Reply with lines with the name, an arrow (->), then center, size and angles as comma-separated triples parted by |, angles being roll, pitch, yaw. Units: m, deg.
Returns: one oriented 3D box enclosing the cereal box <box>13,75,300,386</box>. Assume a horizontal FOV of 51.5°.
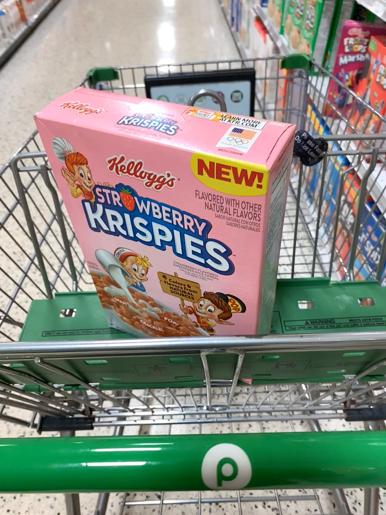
cereal box -> -0.026, -0.006, 0.404 | 0.210, 0.297, 0.061 | 18, 51, 20
